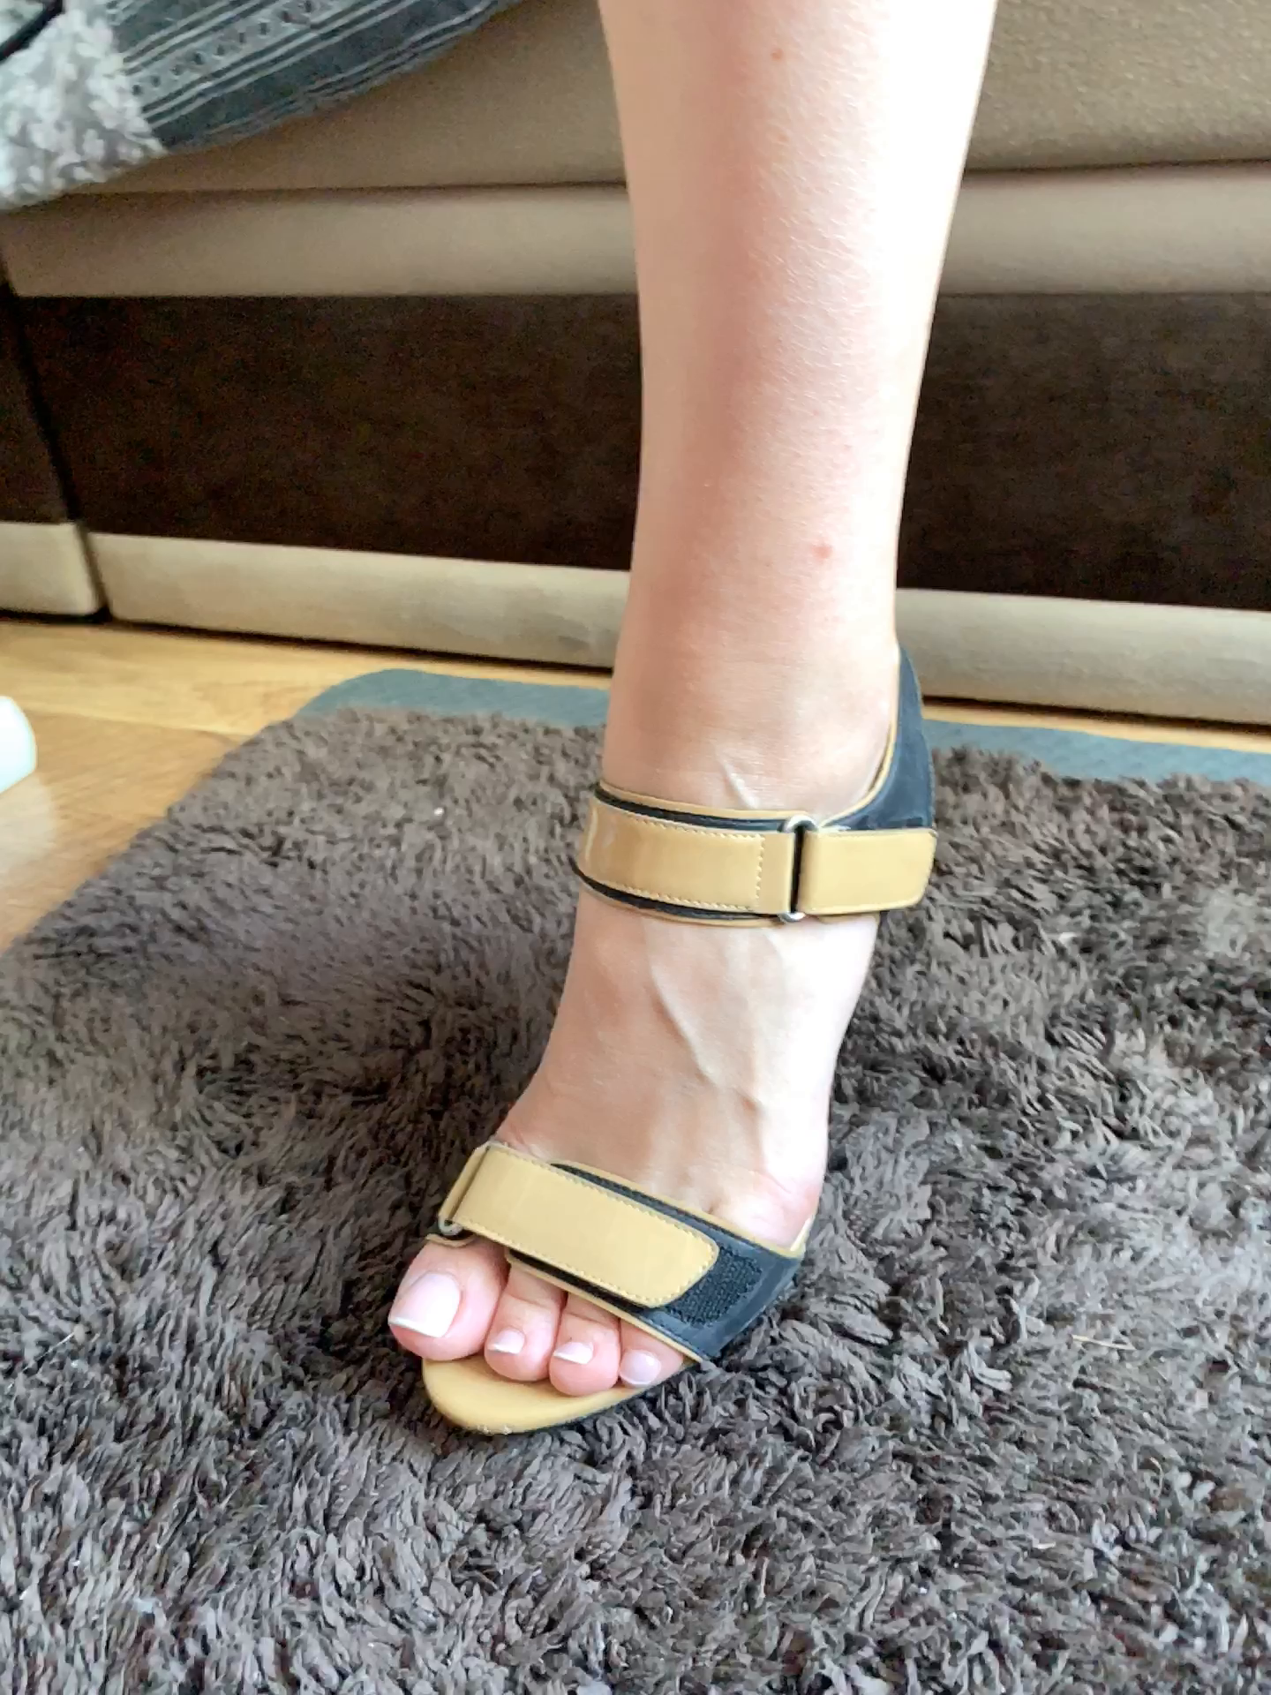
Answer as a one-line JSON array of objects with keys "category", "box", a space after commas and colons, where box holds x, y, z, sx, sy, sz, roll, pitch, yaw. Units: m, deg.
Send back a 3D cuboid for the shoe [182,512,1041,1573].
[{"category": "shoe", "box": [0.015, 0.027, 0.323, 0.090, 0.149, 0.201, 16, 38, 29]}]
